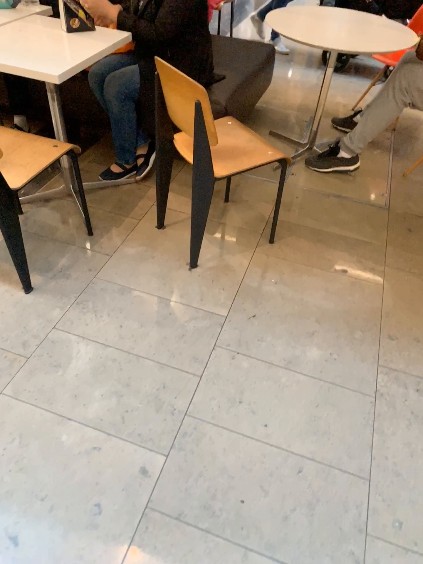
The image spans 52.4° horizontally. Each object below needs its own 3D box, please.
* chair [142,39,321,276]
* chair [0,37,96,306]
[{"bbox_3d":[0.042,-0.514,1.808,0.496,0.767,0.420,-22,50,-25],"label":"chair"},{"bbox_3d":[-0.800,-0.401,1.628,0.428,0.767,0.499,17,45,12],"label":"chair"}]
